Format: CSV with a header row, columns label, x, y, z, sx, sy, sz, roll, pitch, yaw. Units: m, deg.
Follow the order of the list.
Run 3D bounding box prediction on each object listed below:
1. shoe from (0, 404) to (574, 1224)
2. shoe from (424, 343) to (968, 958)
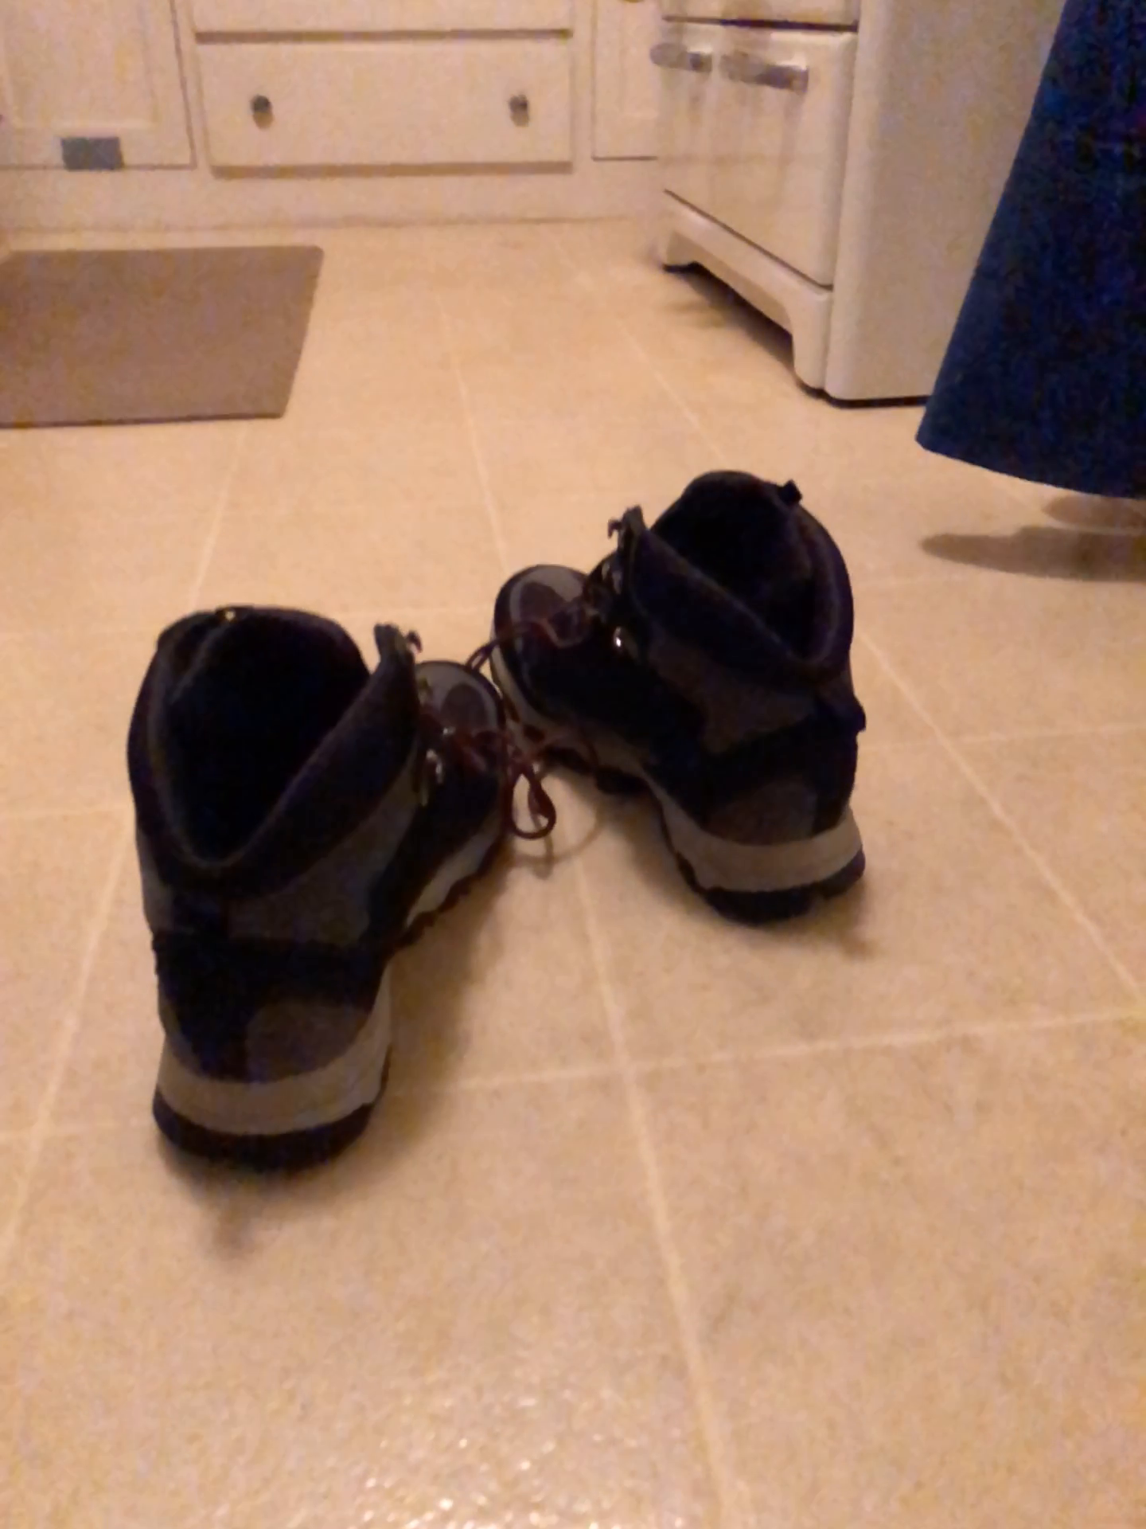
label,x,y,z,sx,sy,sz,roll,pitch,yaw
shoe,-0.098,-0.009,0.531,0.126,0.195,0.311,7,32,12
shoe,0.039,-0.080,0.648,0.116,0.195,0.300,-15,34,-23
